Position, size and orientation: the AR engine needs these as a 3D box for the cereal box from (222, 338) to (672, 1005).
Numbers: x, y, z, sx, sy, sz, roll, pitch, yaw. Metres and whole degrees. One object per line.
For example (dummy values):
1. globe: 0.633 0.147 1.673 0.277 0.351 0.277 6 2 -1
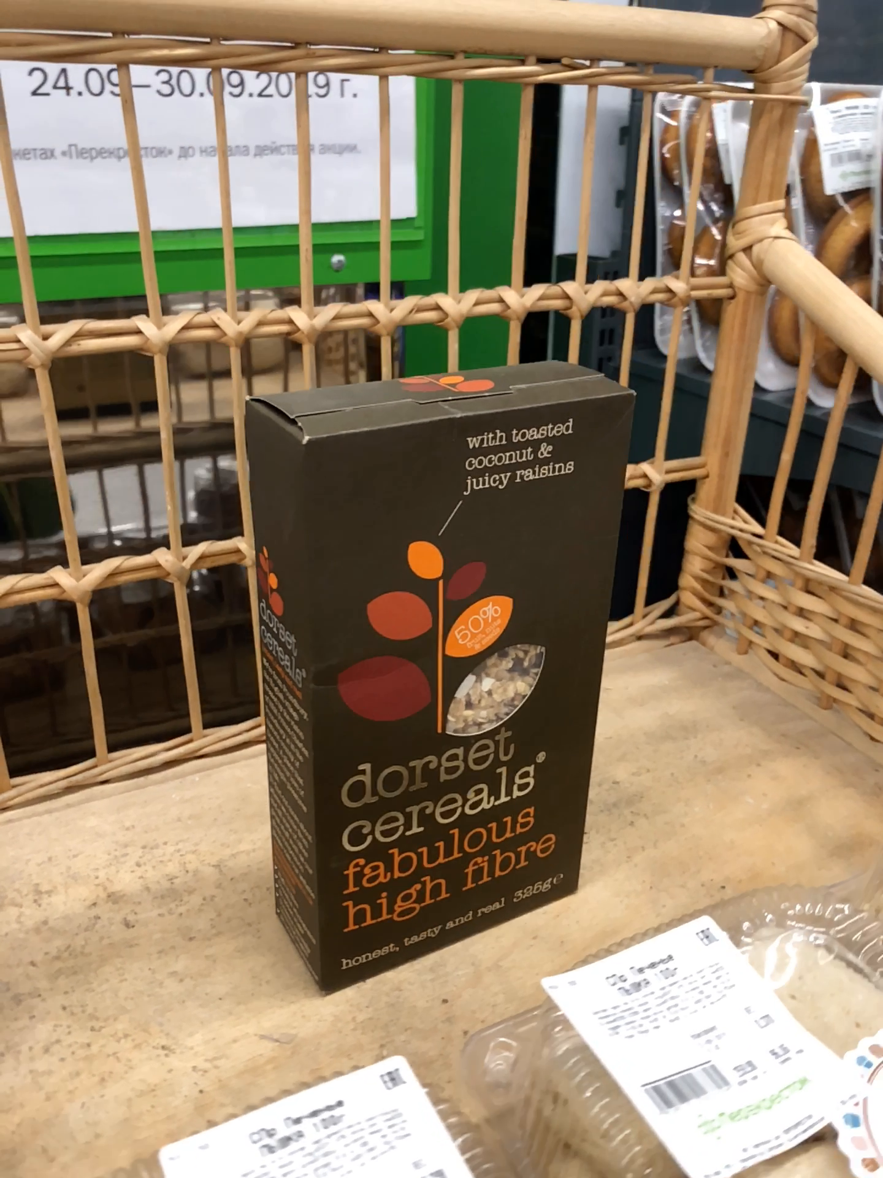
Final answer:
1. cereal box: 0.002 0.028 0.344 0.130 0.209 0.050 -13 29 -26
